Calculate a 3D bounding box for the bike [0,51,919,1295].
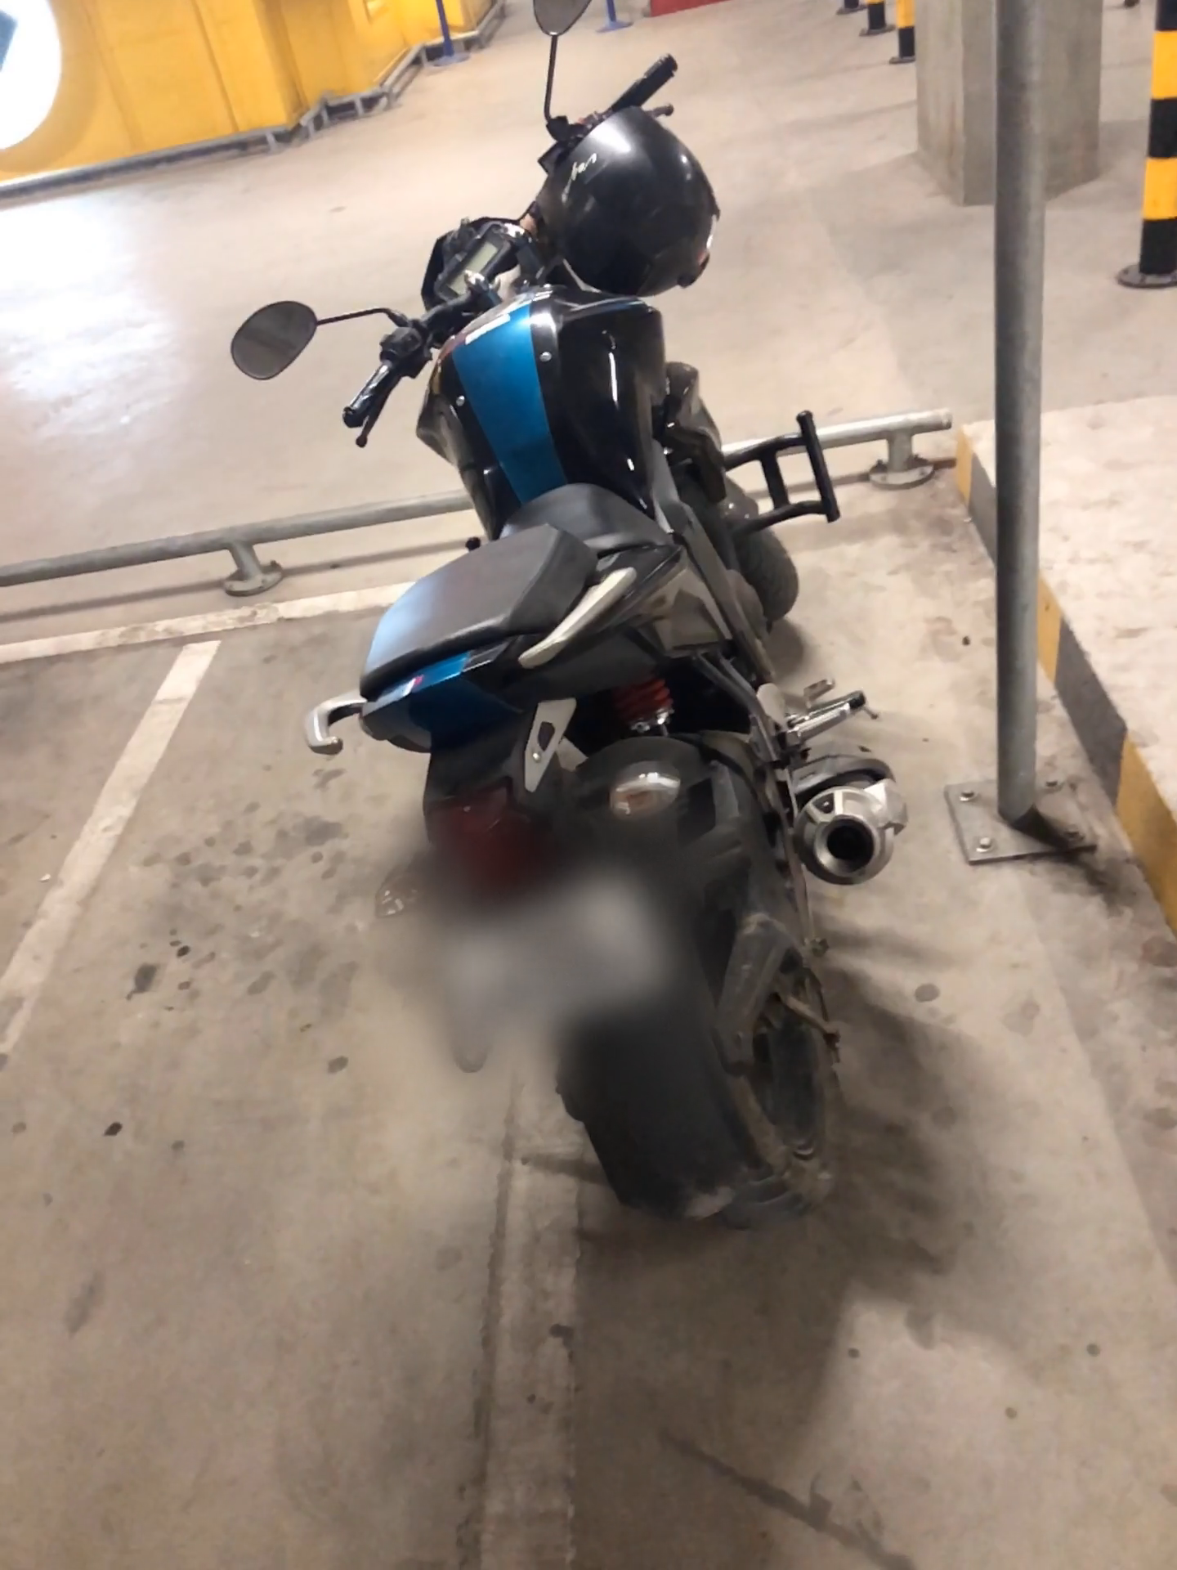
[{"bbox_3d":[-0.164,-0.274,1.728,0.766,0.951,1.422,-11,36,4],"label":"bike"}]
